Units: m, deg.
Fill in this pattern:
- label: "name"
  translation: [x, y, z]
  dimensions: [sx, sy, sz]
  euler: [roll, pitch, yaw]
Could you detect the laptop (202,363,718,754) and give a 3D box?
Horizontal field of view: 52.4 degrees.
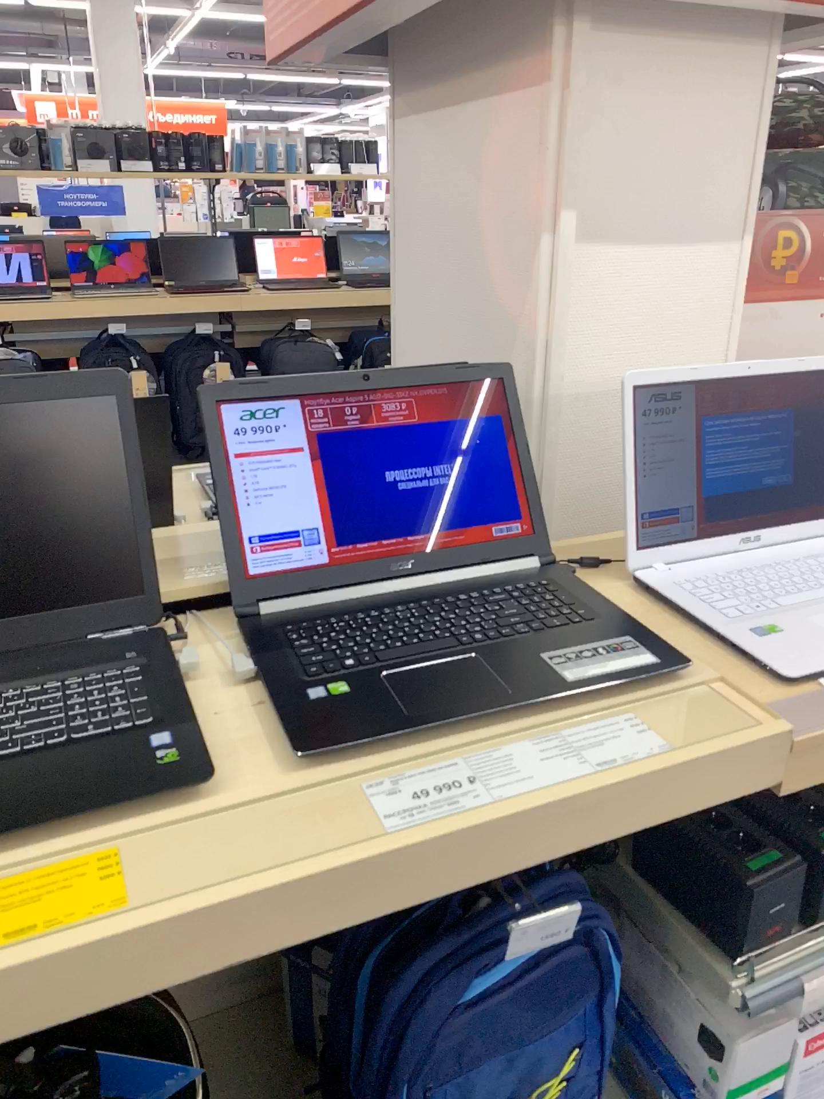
- label: "laptop"
  translation: [0.020, -0.039, 0.946]
  dimensions: [0.420, 0.235, 0.422]
  euler: [-9, 25, -21]
